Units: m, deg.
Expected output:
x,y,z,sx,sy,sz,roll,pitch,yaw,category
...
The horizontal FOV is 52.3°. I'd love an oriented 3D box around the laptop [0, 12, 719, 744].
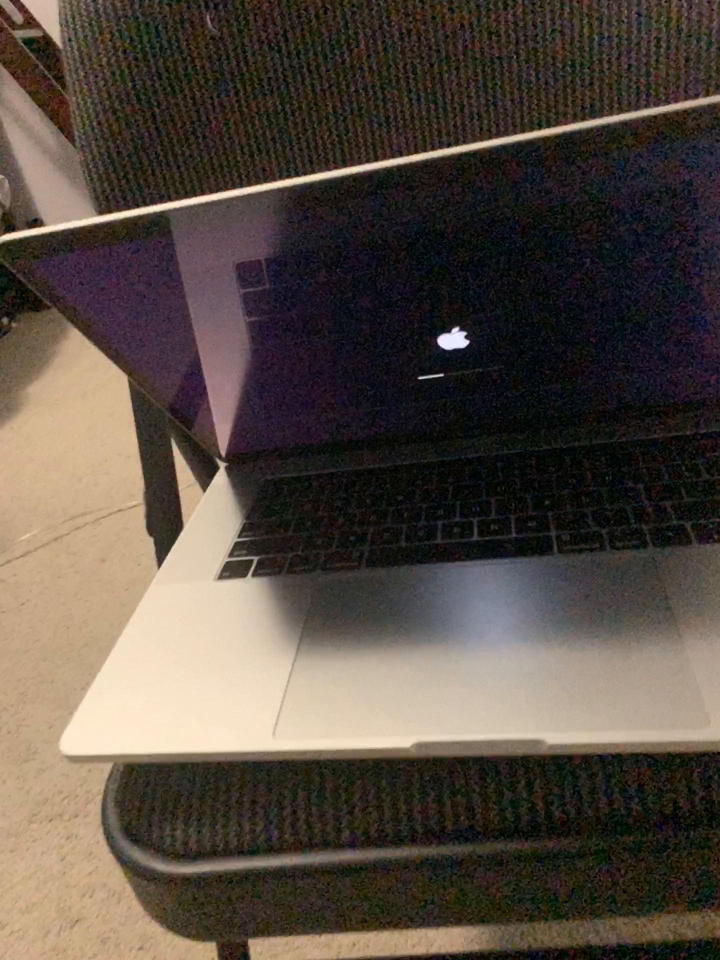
x,y,z,sx,sy,sz,roll,pitch,yaw,category
0.048,-0.047,0.315,0.334,0.188,0.232,-6,31,13,laptop
